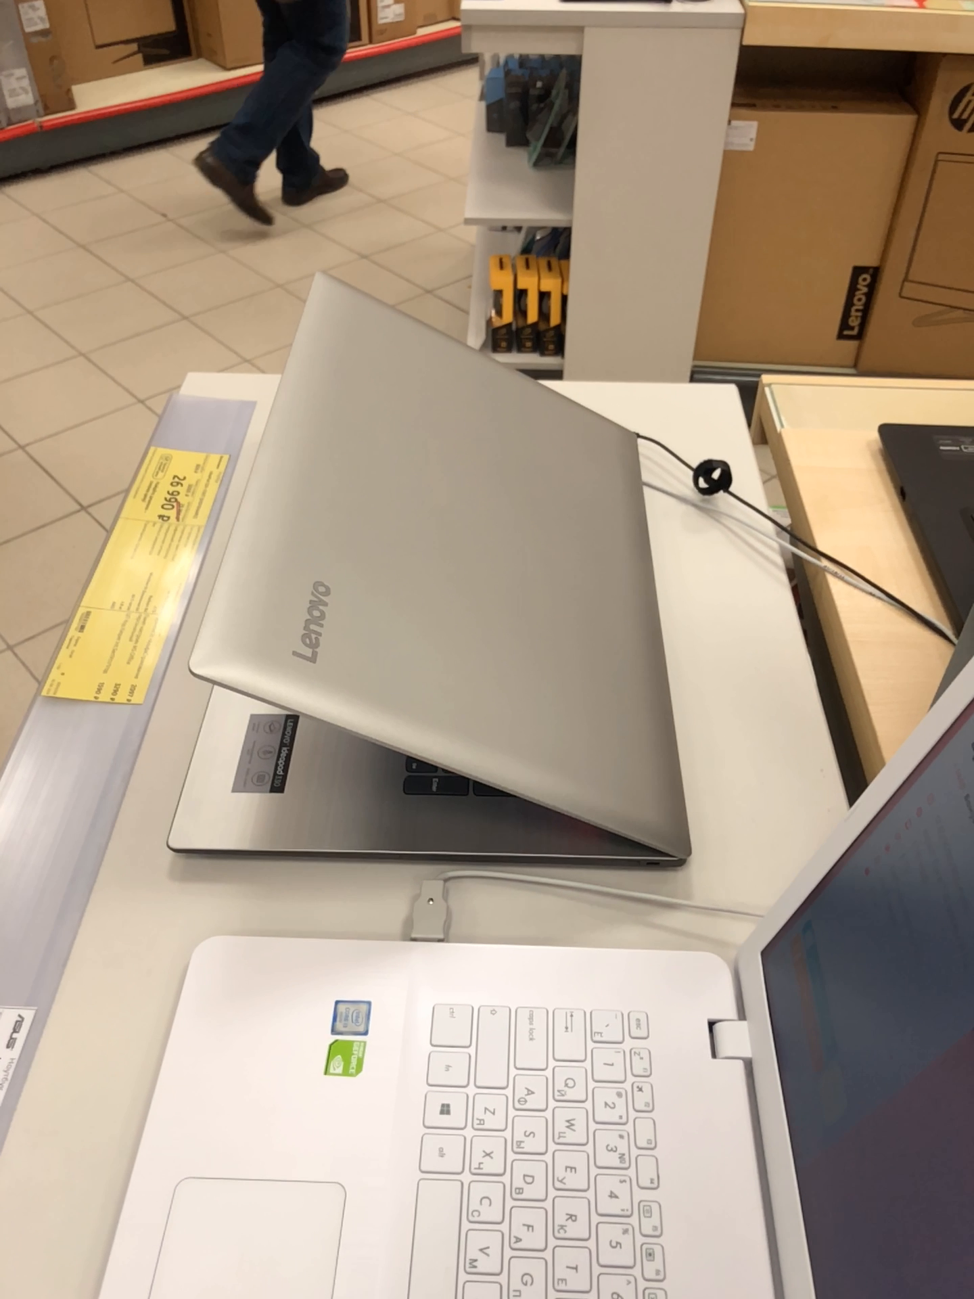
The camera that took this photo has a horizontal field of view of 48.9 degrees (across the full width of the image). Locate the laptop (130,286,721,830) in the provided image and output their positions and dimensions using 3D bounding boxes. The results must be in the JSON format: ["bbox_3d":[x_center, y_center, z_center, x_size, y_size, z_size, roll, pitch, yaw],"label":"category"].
[{"bbox_3d":[-0.021,-0.086,0.691,0.276,0.129,0.400,1,43,2],"label":"laptop"}]
